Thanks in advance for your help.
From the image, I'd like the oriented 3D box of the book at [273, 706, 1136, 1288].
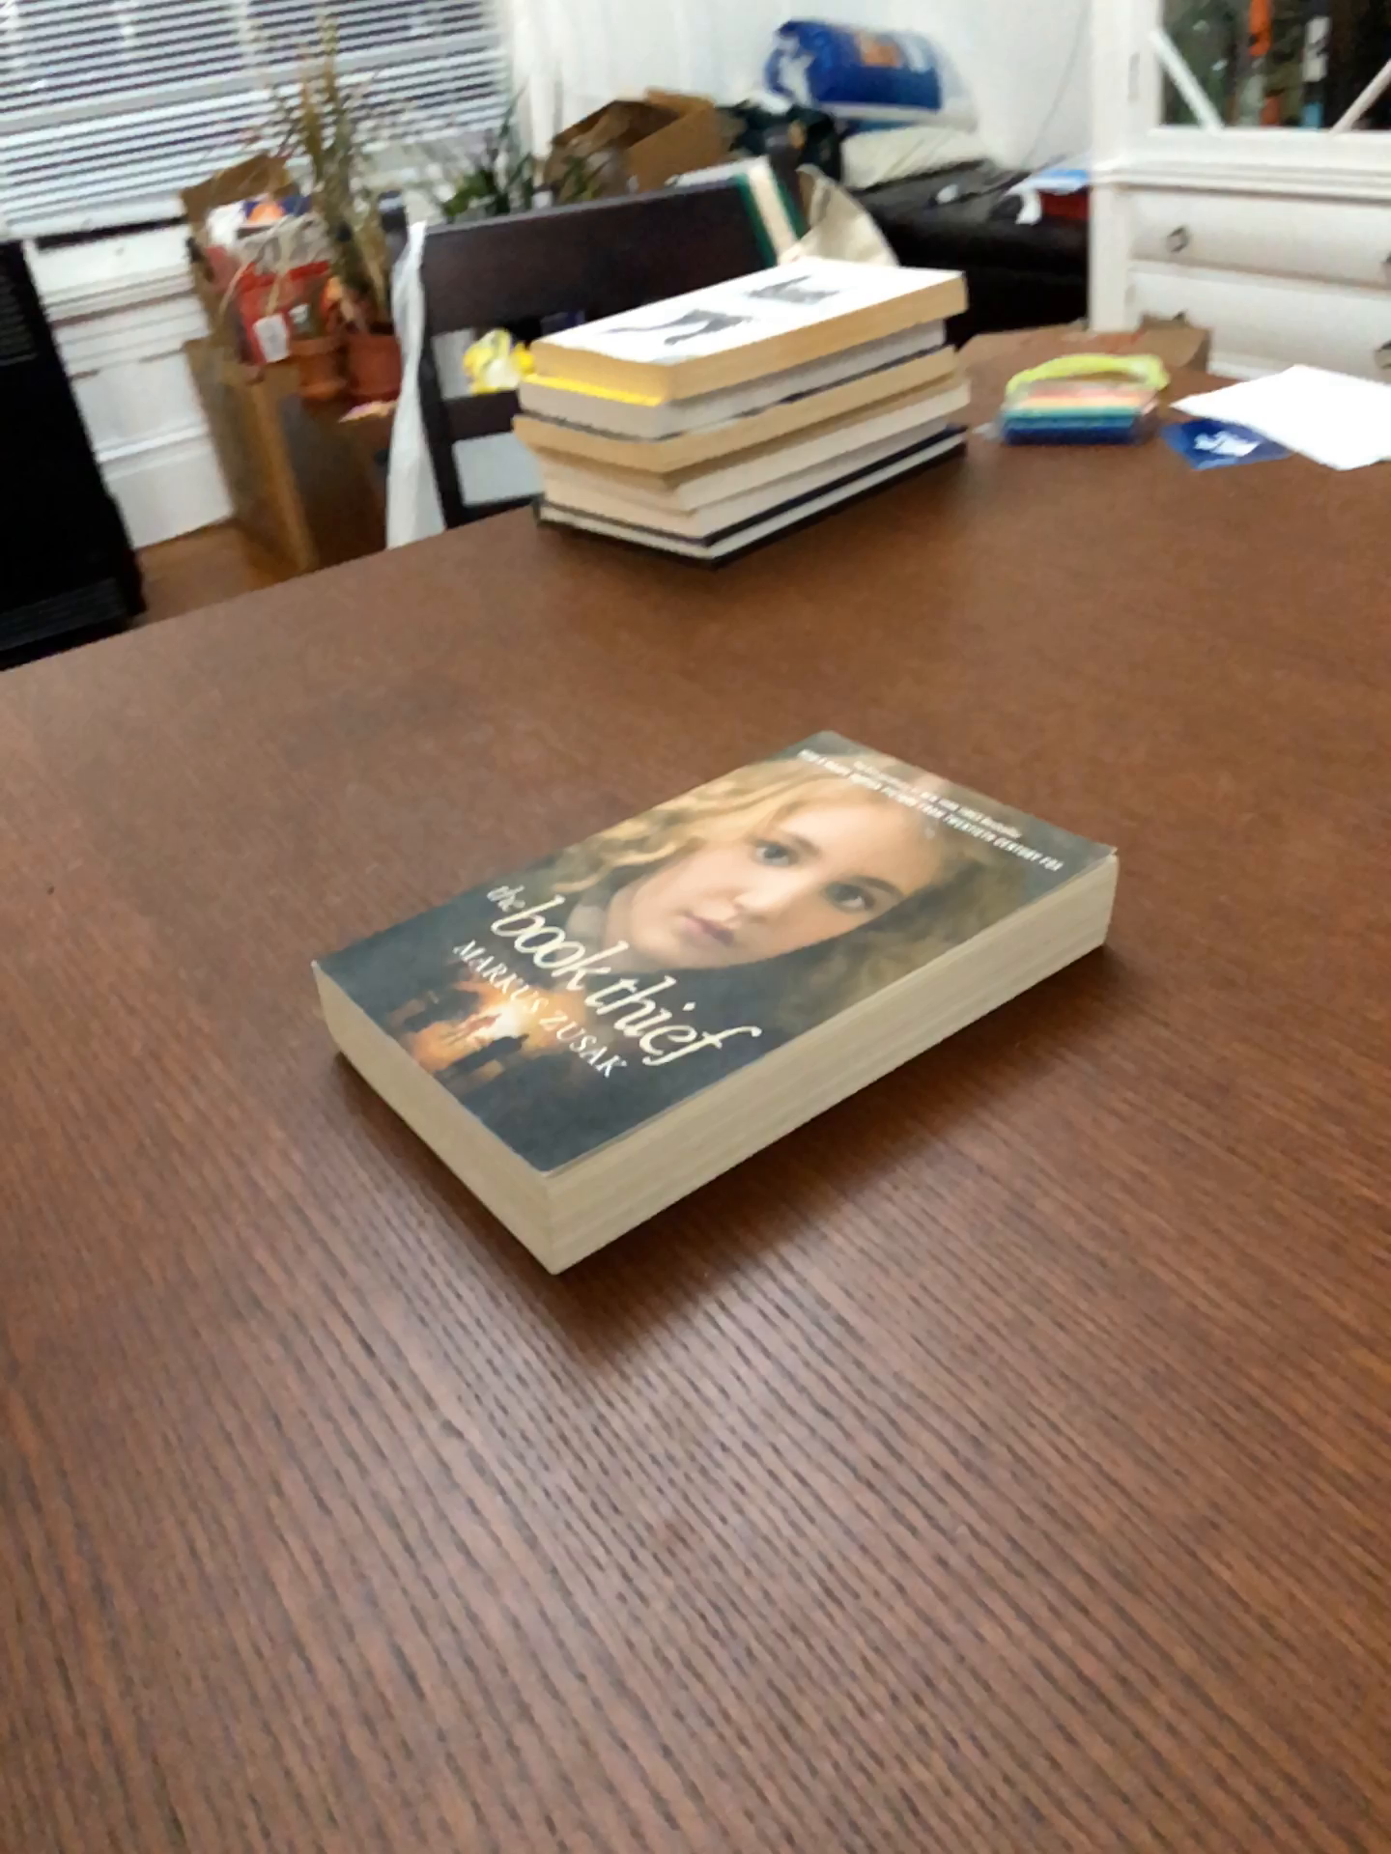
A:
[{"bbox_3d":[0.003,0.004,0.477,0.220,0.030,0.151,-27,37,-26],"label":"book"}]
